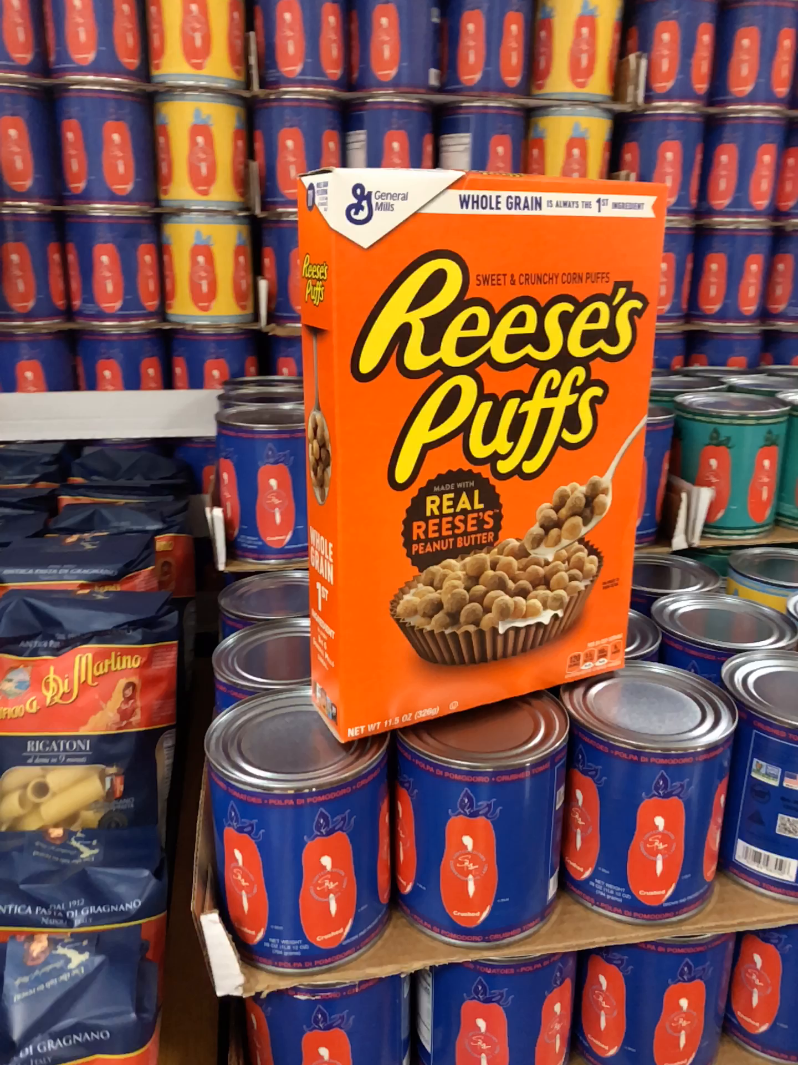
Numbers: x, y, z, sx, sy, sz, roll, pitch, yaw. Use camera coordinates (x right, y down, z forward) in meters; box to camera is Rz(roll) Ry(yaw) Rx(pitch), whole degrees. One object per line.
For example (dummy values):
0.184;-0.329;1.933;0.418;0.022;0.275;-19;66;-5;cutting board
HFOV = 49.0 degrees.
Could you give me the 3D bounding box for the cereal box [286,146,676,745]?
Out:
0.046;-0.048;0.481;0.200;0.288;0.050;-9;20;-27;cereal box
